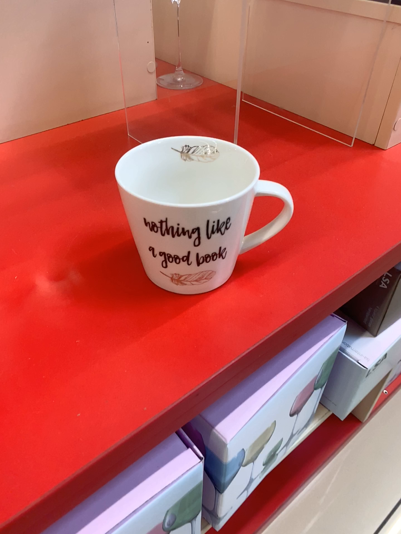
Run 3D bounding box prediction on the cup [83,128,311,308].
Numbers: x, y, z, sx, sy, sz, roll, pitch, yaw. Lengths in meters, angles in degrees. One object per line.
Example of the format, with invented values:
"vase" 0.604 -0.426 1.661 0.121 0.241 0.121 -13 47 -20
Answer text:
"cup" 0.000 -0.037 0.298 0.130 0.090 0.090 2 41 3
